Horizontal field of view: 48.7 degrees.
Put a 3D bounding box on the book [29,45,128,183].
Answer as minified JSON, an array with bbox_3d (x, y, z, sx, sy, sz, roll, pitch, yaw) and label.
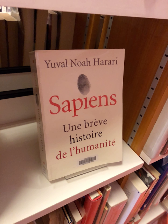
[{"bbox_3d":[-0.003,-0.003,0.376,0.178,0.243,0.052,-8,16,-24],"label":"book"}]
